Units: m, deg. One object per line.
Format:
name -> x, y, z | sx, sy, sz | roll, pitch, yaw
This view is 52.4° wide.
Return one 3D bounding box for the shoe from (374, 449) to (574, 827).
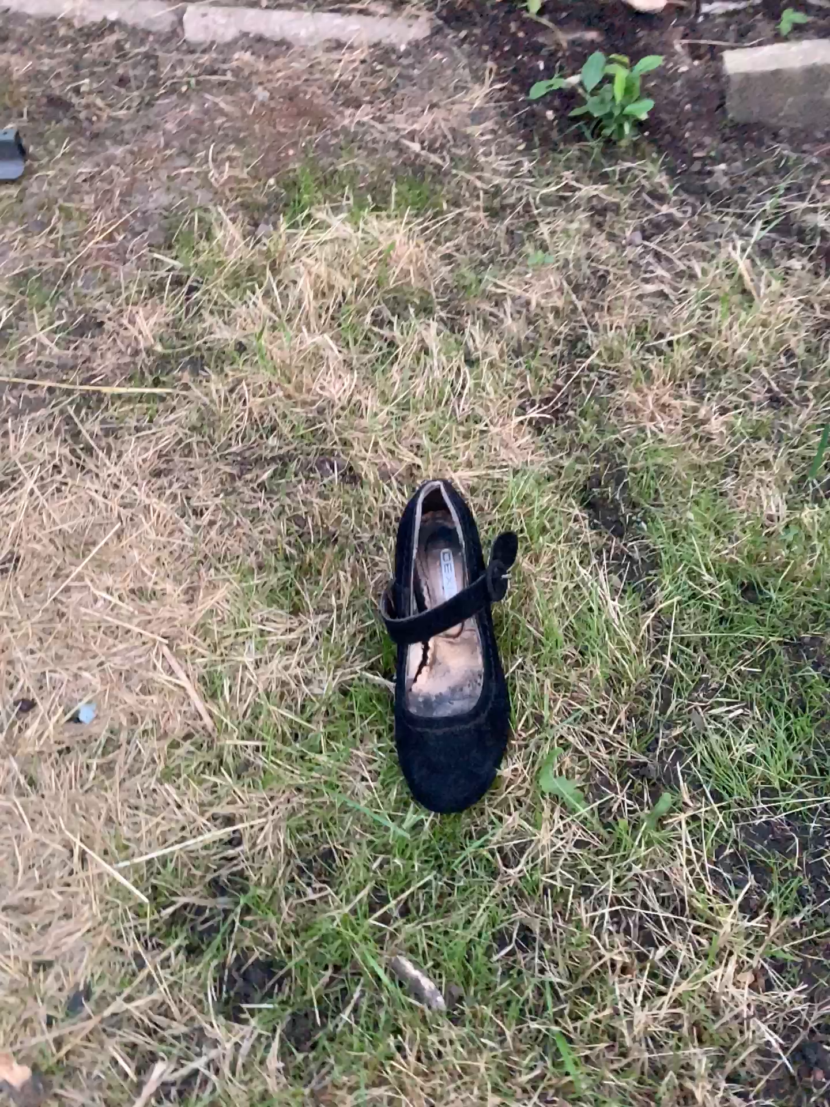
shoe -> 0.032, 0.055, 0.624 | 0.110, 0.109, 0.252 | -4, 53, -2
